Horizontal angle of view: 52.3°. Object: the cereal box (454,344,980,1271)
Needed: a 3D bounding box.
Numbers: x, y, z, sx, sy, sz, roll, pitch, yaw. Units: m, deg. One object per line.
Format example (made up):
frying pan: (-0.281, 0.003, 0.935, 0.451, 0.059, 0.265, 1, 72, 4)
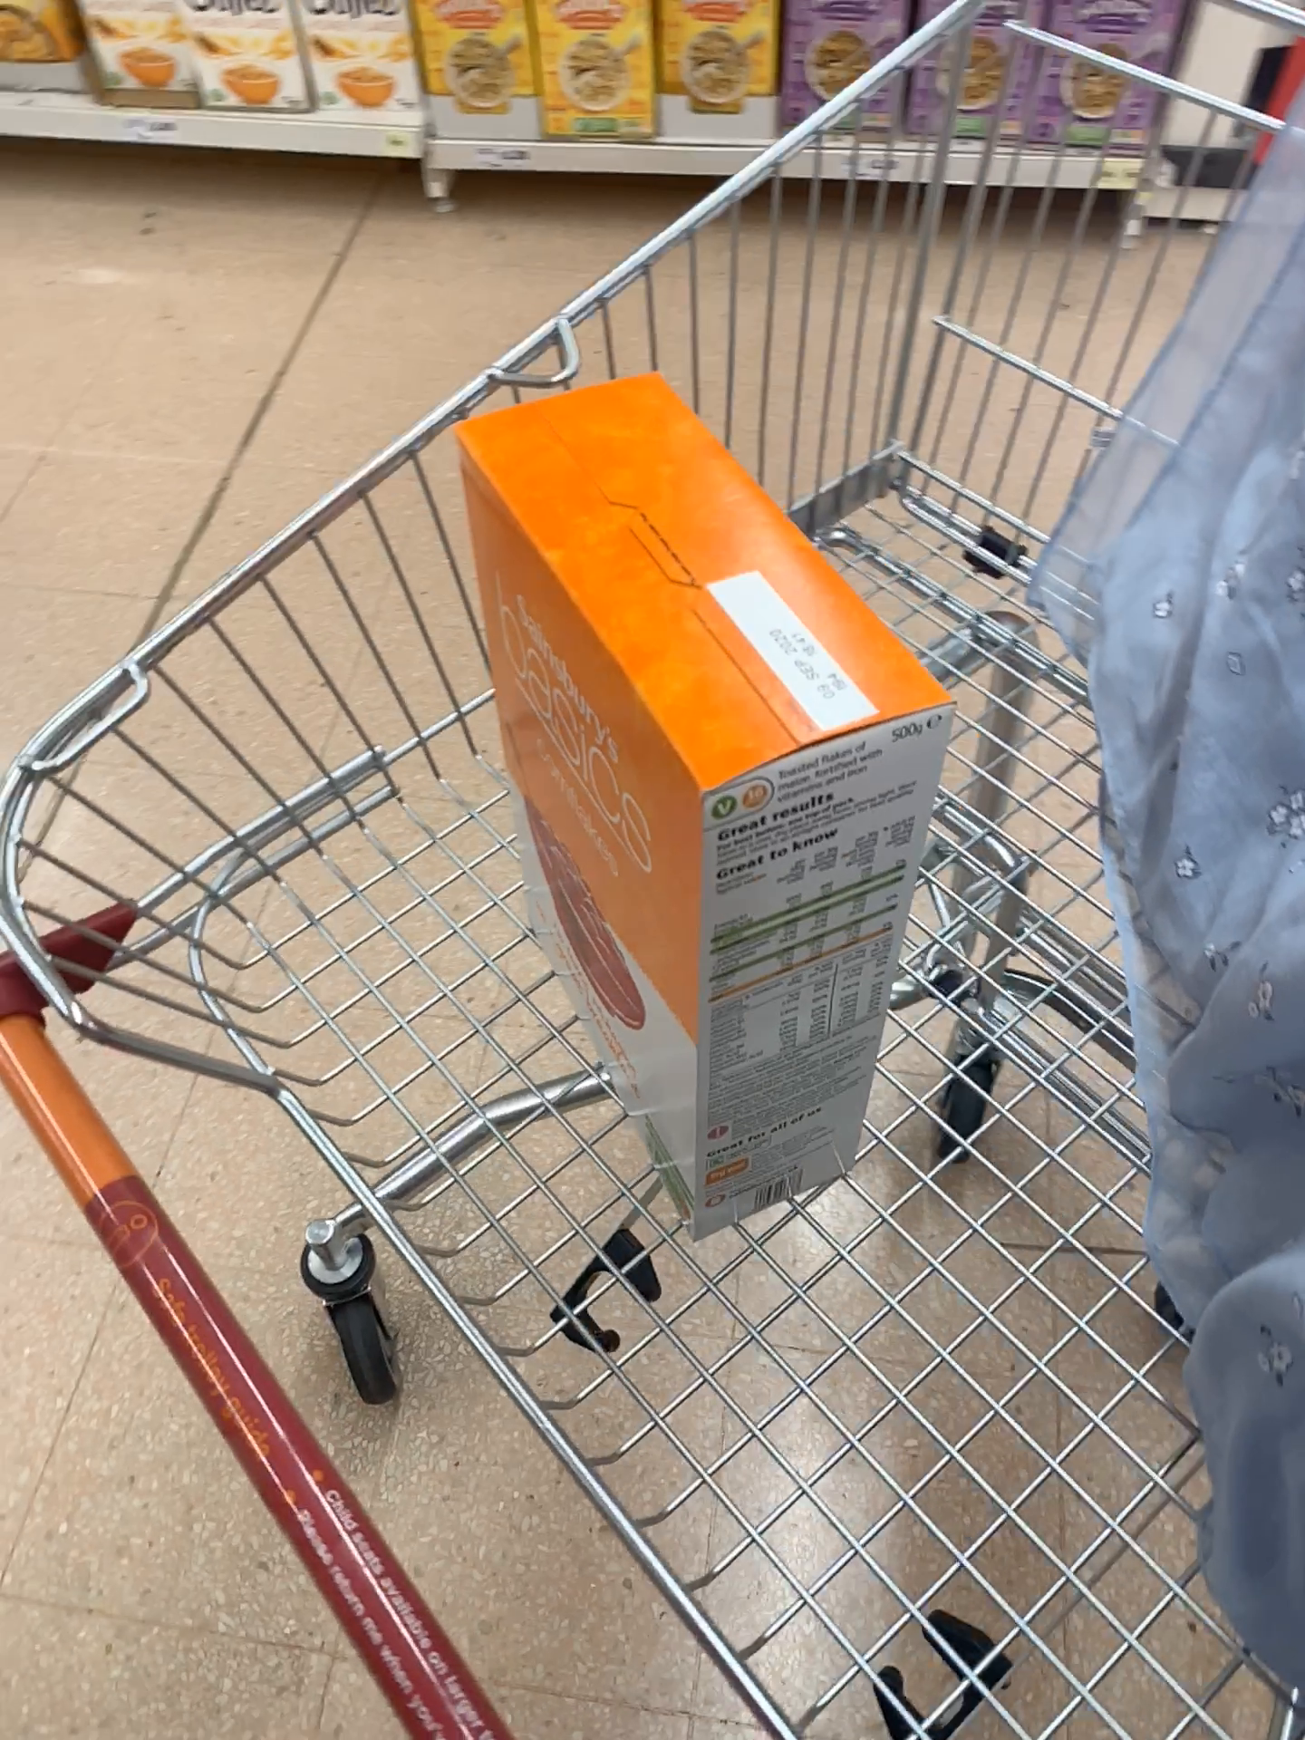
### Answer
cereal box: (0.011, -0.010, 0.537, 0.080, 0.307, 0.211, -20, 53, -15)
